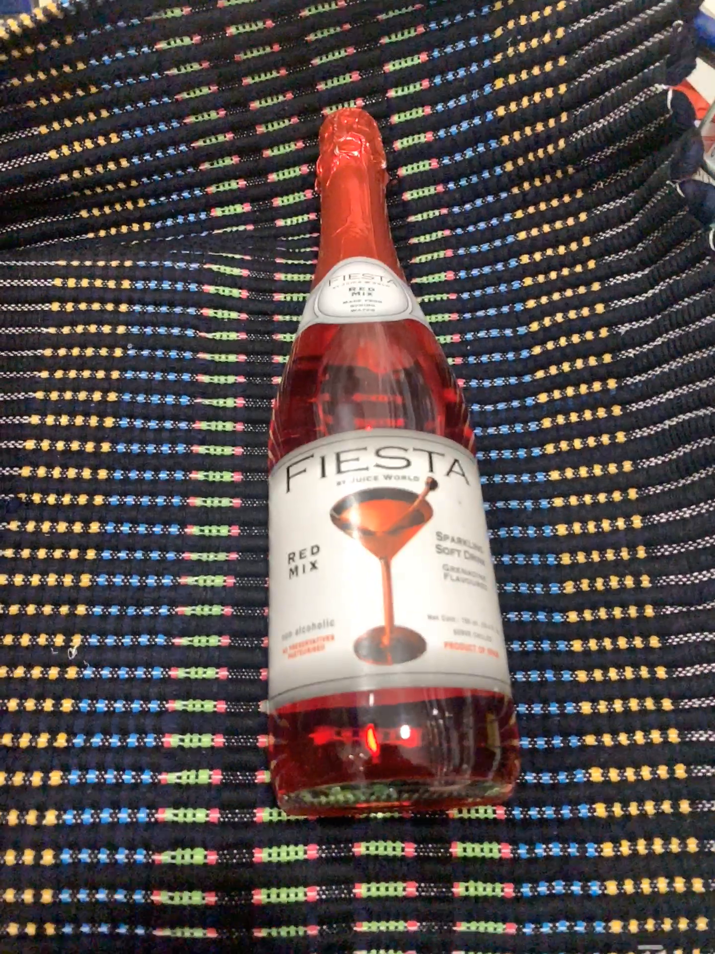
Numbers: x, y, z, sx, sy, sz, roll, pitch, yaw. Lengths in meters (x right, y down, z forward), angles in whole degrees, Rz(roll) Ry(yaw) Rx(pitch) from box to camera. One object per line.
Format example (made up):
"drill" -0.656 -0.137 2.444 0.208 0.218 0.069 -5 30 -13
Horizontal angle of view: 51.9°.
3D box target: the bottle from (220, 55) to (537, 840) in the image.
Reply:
"bottle" -0.004 -0.034 0.289 0.080 0.070 0.311 -4 62 0
